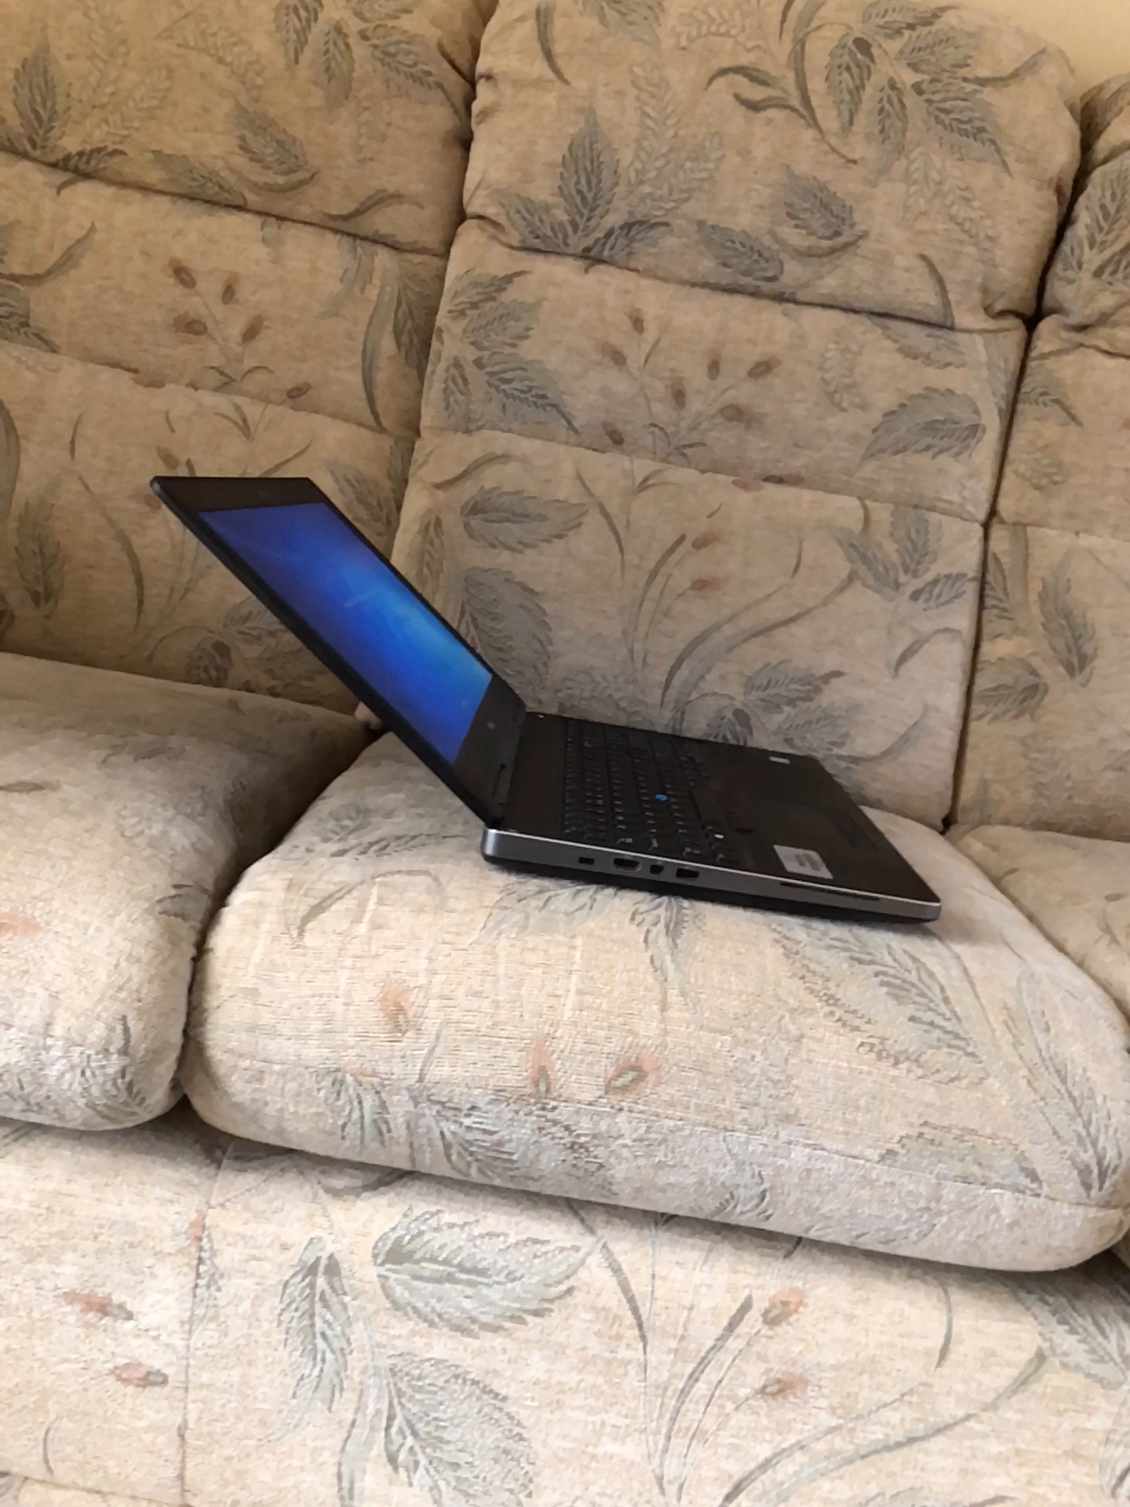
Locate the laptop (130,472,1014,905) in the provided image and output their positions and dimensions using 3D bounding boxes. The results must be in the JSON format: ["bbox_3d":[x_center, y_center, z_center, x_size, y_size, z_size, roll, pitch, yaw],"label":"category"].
[{"bbox_3d":[-0.005,-0.068,0.831,0.451,0.157,0.356,9,14,-1],"label":"laptop"}]
